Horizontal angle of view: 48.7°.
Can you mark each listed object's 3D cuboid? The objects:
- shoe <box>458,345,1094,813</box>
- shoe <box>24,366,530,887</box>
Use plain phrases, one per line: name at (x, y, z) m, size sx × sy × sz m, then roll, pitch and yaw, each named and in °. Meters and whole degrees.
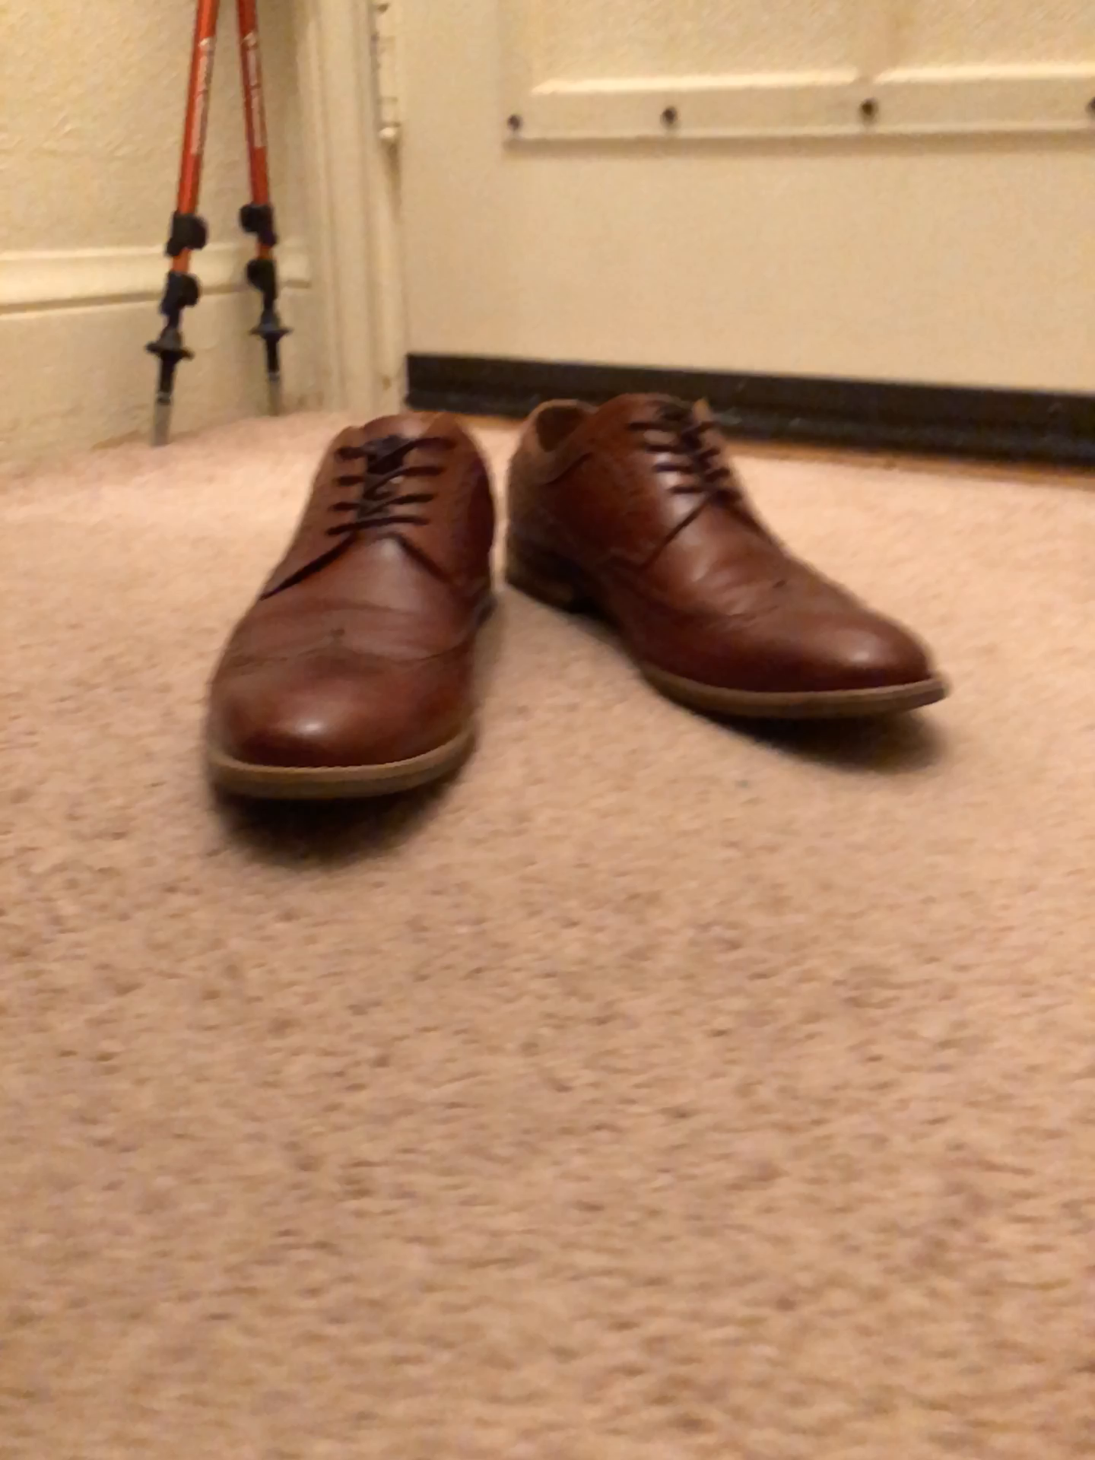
shoe at (0.071, -0.092, 0.537) m, size 0.115 × 0.114 × 0.311 m, roll -10°, pitch 26°, yaw -23°
shoe at (-0.077, -0.069, 0.497) m, size 0.115 × 0.114 × 0.312 m, roll 2°, pitch 24°, yaw 3°
